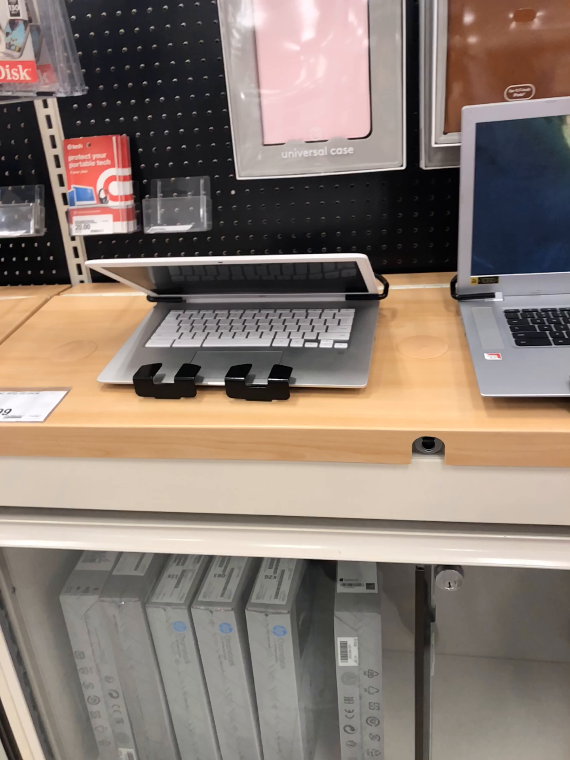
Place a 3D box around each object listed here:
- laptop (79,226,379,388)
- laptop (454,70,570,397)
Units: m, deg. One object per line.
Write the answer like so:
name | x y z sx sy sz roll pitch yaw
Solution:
laptop | -0.054 -0.101 0.798 0.330 0.100 0.216 1 32 13
laptop | 0.402 -0.168 0.675 0.388 0.244 0.274 -1 27 9
